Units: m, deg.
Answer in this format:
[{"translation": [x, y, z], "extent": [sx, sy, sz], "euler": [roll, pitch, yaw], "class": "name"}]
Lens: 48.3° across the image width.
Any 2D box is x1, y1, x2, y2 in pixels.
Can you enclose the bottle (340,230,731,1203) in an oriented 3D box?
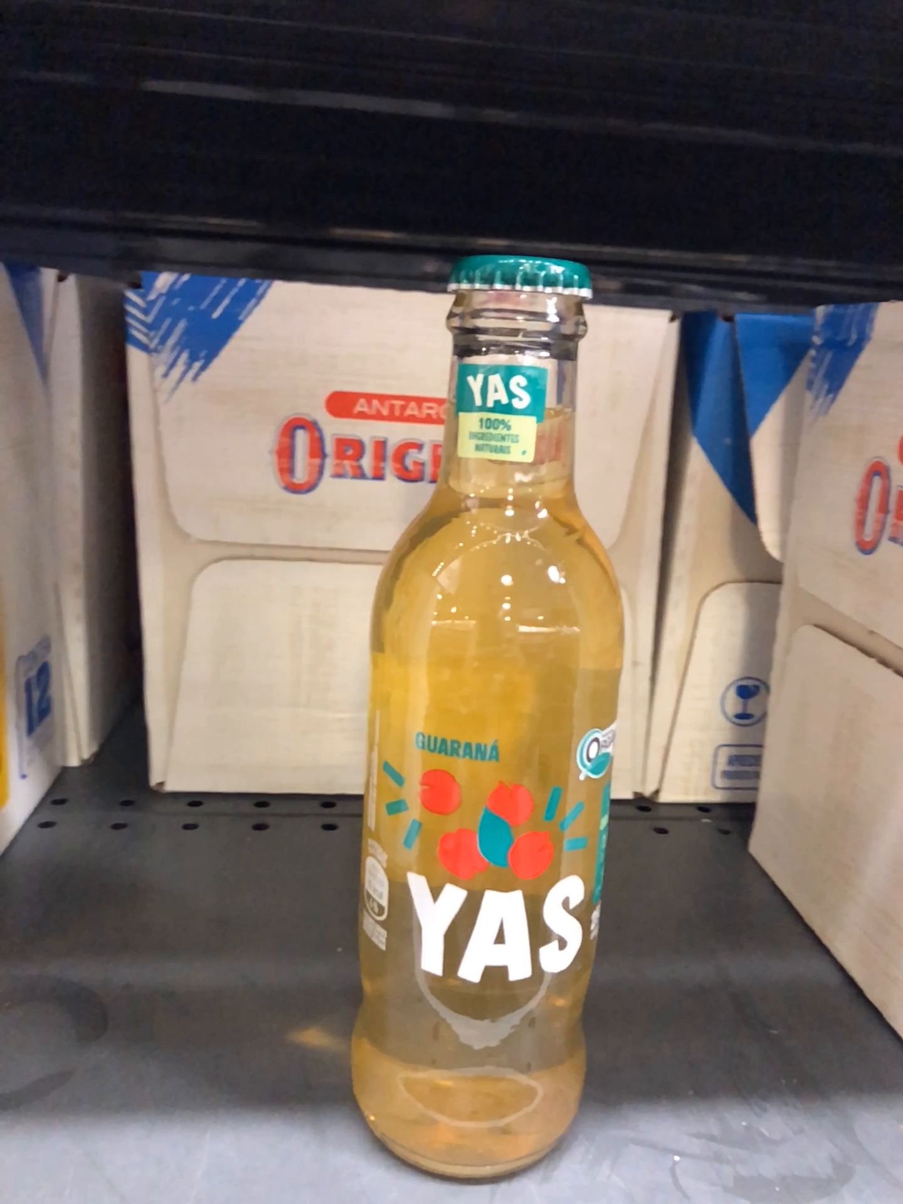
[{"translation": [0.009, 0.027, 0.224], "extent": [0.060, 0.199, 0.060], "euler": [3, 14, -1], "class": "bottle"}]
